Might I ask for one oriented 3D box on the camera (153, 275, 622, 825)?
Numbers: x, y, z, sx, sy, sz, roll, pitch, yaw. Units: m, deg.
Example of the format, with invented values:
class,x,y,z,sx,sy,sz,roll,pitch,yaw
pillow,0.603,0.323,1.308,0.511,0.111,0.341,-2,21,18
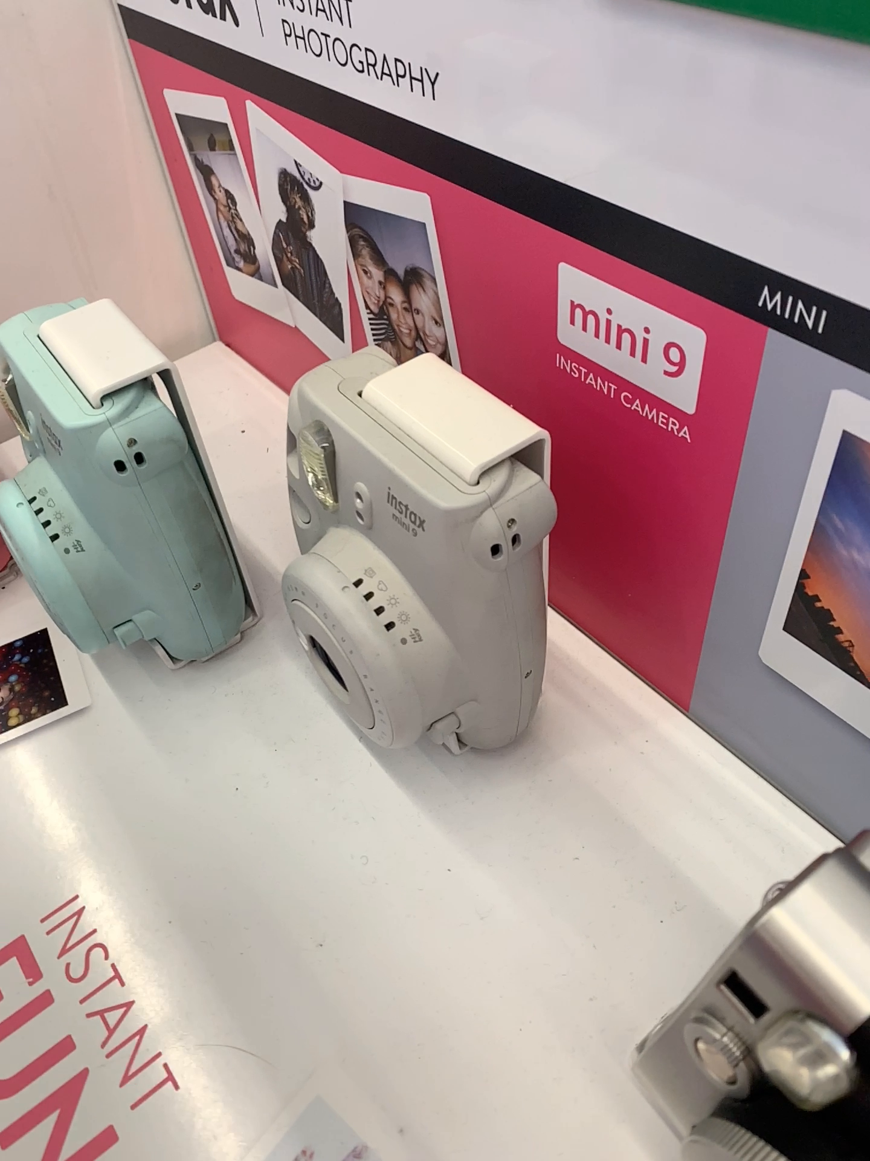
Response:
class,x,y,z,sx,sy,sz,roll,pitch,yaw
camera,-0.013,-0.012,0.283,0.080,0.109,0.111,-31,51,-21
